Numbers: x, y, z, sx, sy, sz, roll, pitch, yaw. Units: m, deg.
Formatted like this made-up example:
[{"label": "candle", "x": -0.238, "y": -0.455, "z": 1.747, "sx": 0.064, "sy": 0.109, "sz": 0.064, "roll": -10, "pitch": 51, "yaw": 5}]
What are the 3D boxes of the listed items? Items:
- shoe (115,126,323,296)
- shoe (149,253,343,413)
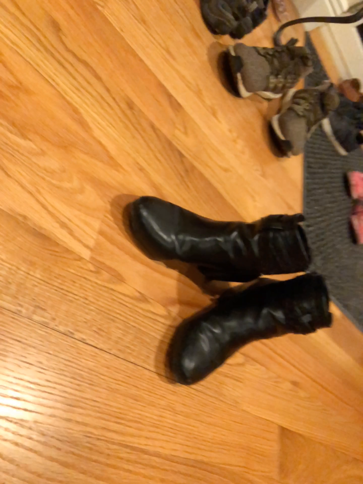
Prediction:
[{"label": "shoe", "x": 0.061, "y": -0.019, "z": 0.538, "sx": 0.227, "sy": 0.172, "sz": 0.090, "roll": 36, "pitch": 52, "yaw": -42}, {"label": "shoe", "x": 0.100, "y": 0.114, "z": 0.552, "sx": 0.227, "sy": 0.172, "sz": 0.090, "roll": -36, "pitch": 108, "yaw": -52}]
